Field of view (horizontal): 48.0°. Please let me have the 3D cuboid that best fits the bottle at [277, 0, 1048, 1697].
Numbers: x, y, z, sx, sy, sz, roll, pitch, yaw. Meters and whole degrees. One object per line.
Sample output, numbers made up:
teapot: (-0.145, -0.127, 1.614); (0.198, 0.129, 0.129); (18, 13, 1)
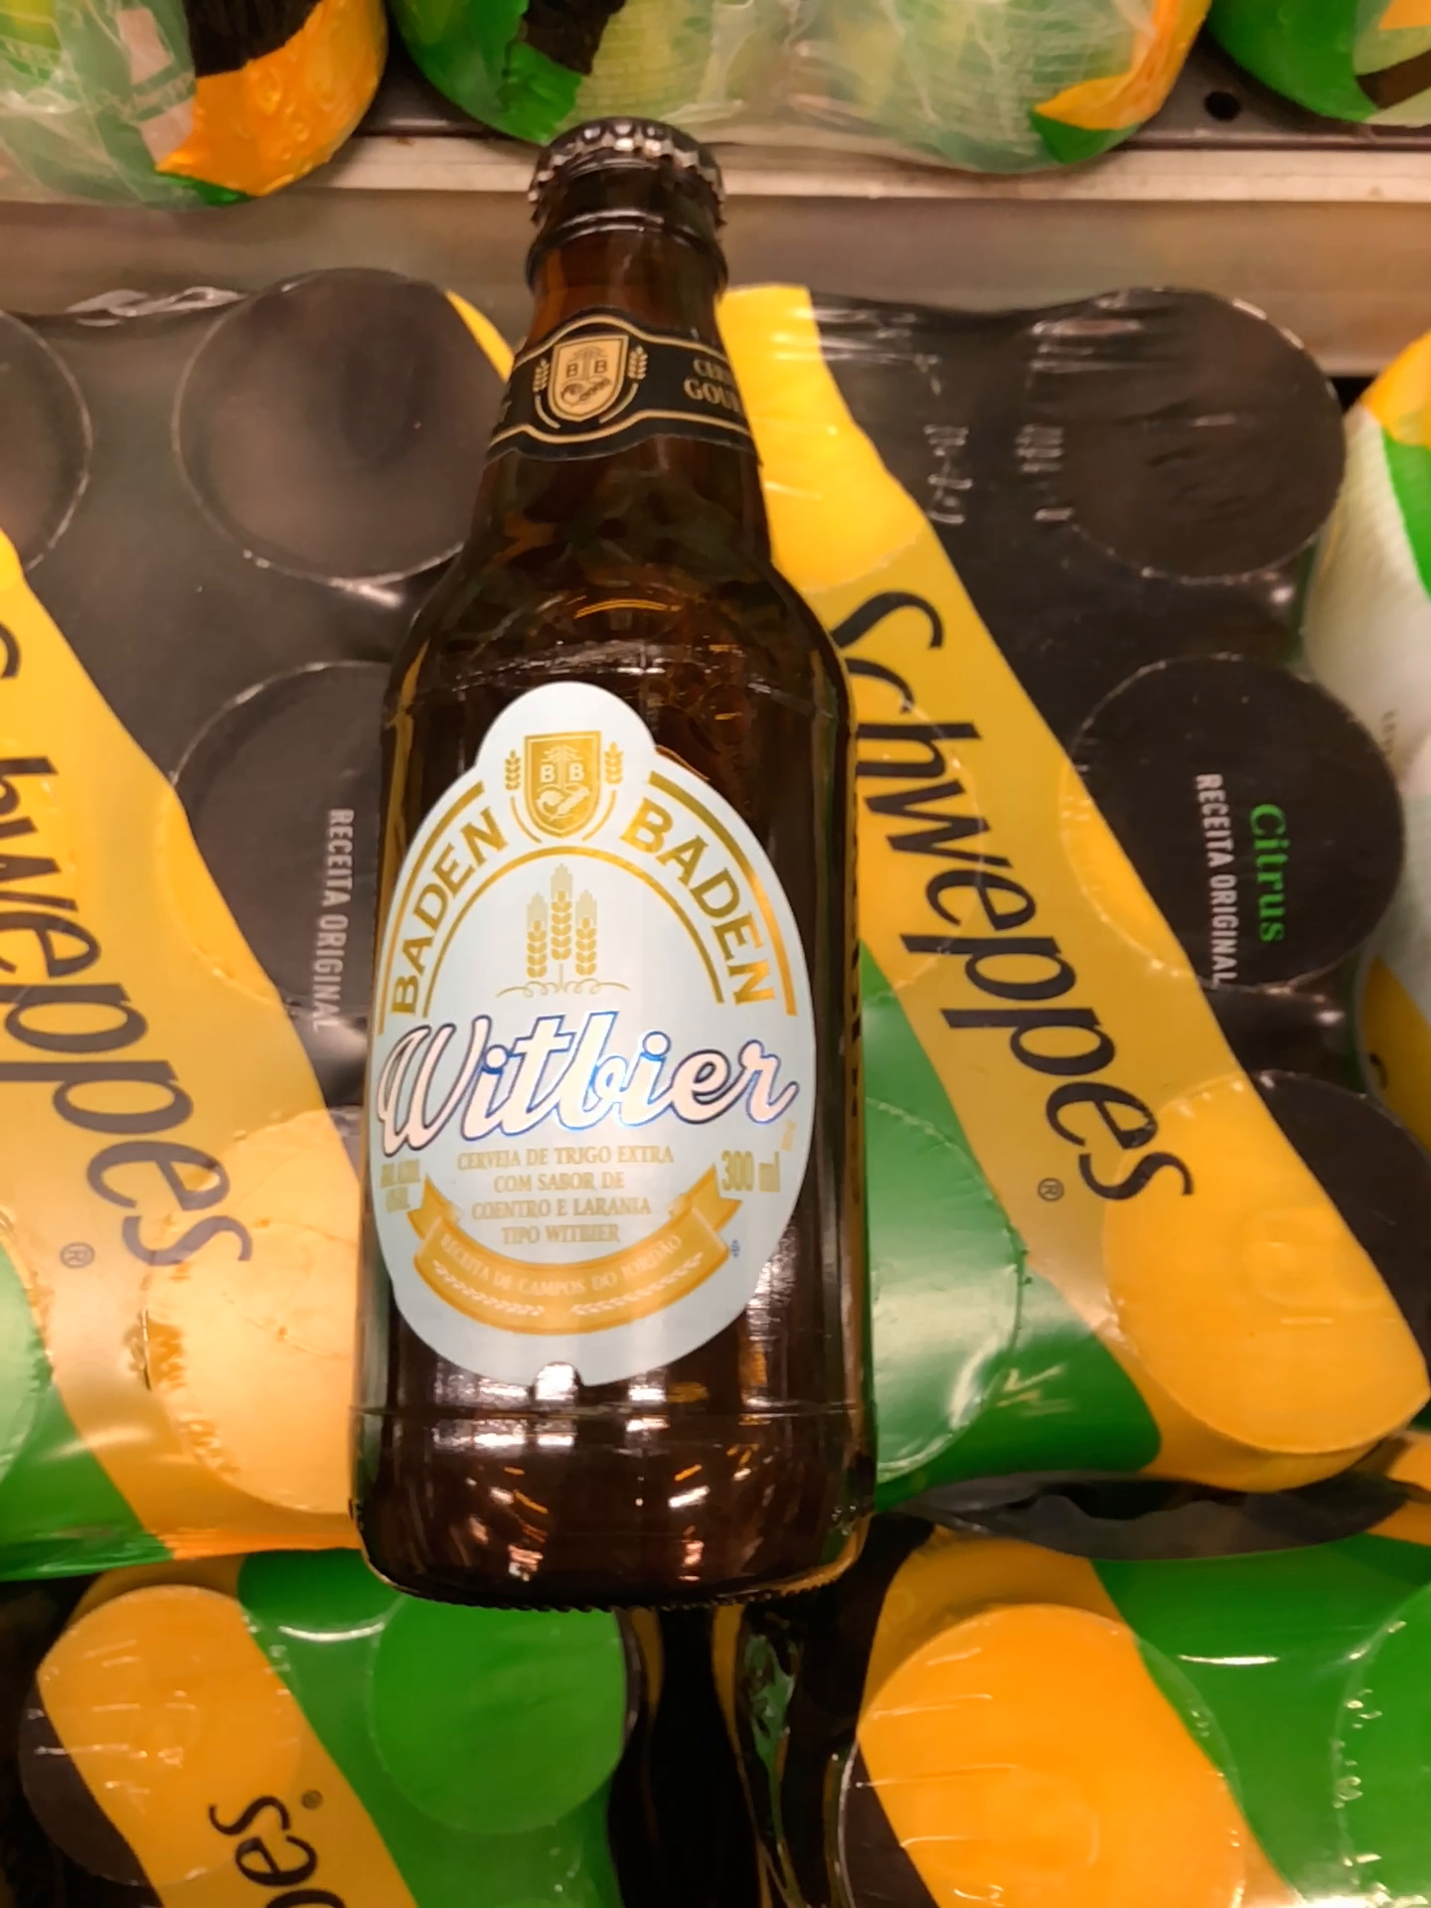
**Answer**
bottle: (-0.006, -0.027, 0.192); (0.070, 0.060, 0.200); (1, 80, -5)
